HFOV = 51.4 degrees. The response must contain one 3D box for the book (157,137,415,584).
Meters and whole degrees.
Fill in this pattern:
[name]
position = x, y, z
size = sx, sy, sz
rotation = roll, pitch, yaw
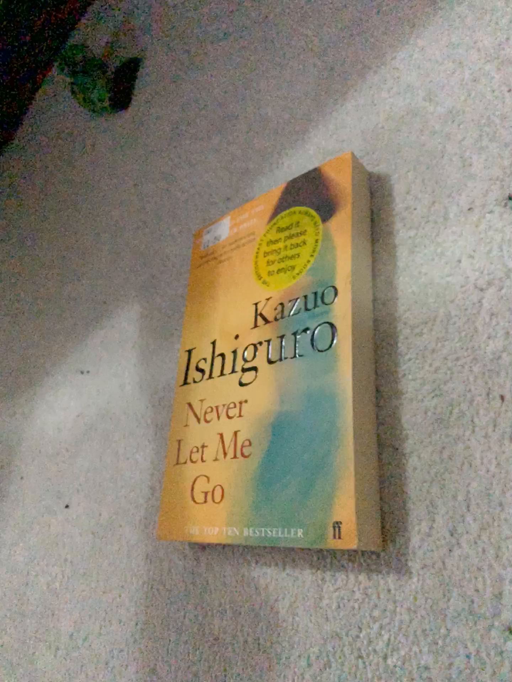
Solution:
[book]
position = 0.010, 0.010, 0.288
size = 0.141, 0.020, 0.211
rotation = -17, 61, 40
